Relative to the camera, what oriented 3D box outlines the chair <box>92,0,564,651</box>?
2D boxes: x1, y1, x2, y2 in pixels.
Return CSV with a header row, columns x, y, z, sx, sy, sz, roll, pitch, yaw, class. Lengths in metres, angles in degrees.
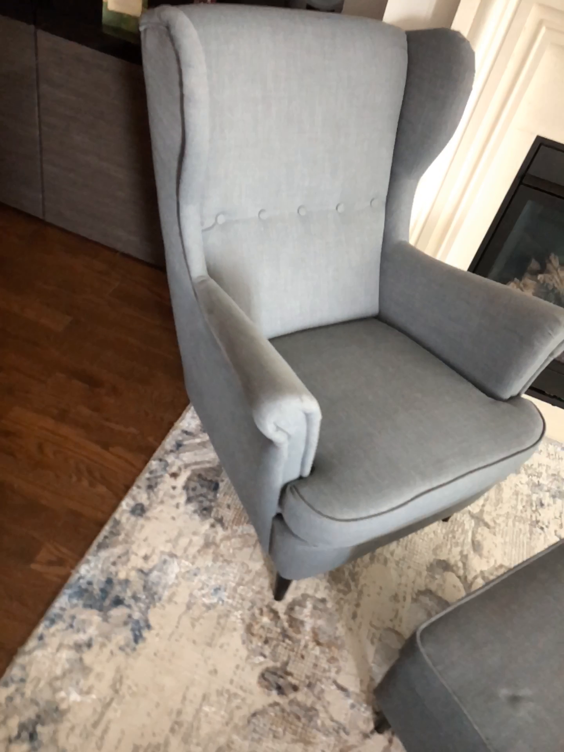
x,y,z,sx,sy,sz,roll,pitch,yaw,class
0.132,-0.168,1.346,0.802,0.966,0.852,-16,51,-30,chair
